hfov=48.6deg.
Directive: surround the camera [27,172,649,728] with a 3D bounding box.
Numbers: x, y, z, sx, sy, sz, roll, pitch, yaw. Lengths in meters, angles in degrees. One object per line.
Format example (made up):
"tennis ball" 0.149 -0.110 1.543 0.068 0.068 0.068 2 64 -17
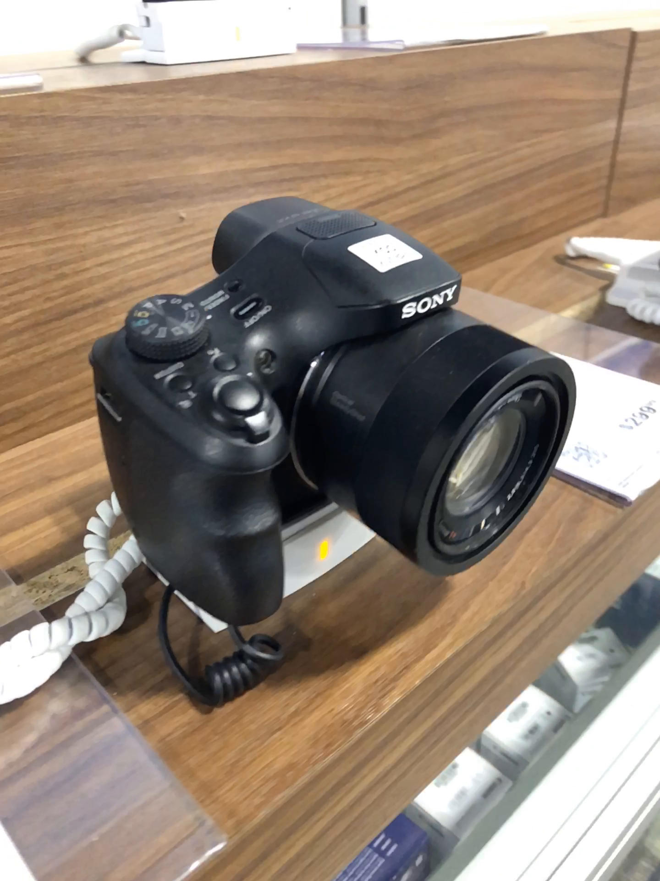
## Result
"camera" 0.002 -0.014 0.234 0.130 0.089 0.121 -27 46 -35
